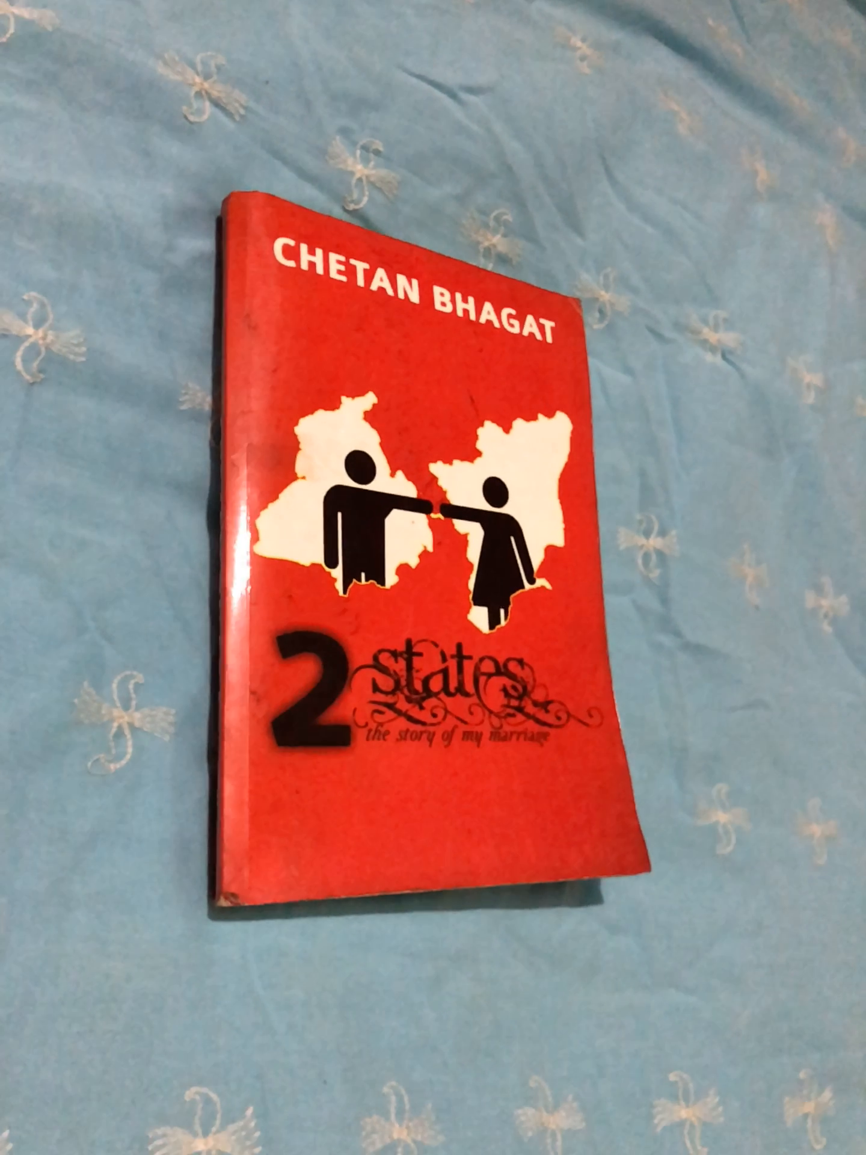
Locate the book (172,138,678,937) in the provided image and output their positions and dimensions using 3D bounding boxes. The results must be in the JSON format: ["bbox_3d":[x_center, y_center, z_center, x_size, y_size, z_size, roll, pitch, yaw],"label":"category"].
[{"bbox_3d":[-0.001,-0.010,0.282,0.141,0.030,0.200,7,71,-34],"label":"book"}]
